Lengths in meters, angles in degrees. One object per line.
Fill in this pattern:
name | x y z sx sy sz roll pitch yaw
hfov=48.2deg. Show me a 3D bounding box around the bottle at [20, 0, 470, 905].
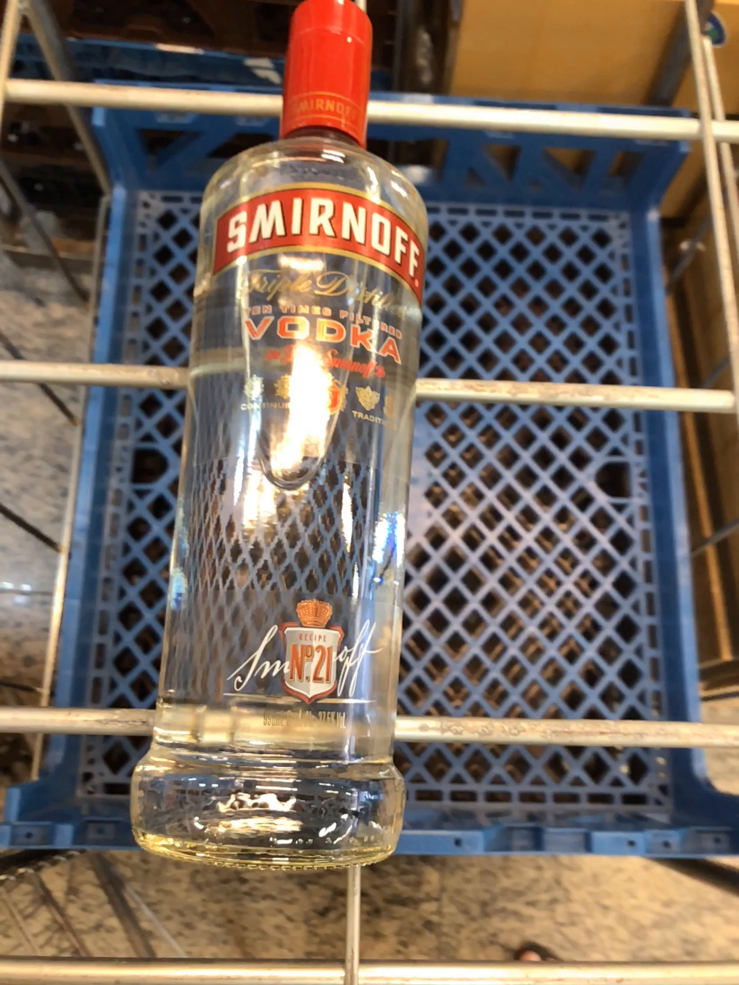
bottle | -0.027 -0.043 0.281 0.100 0.100 0.310 3 75 -3
